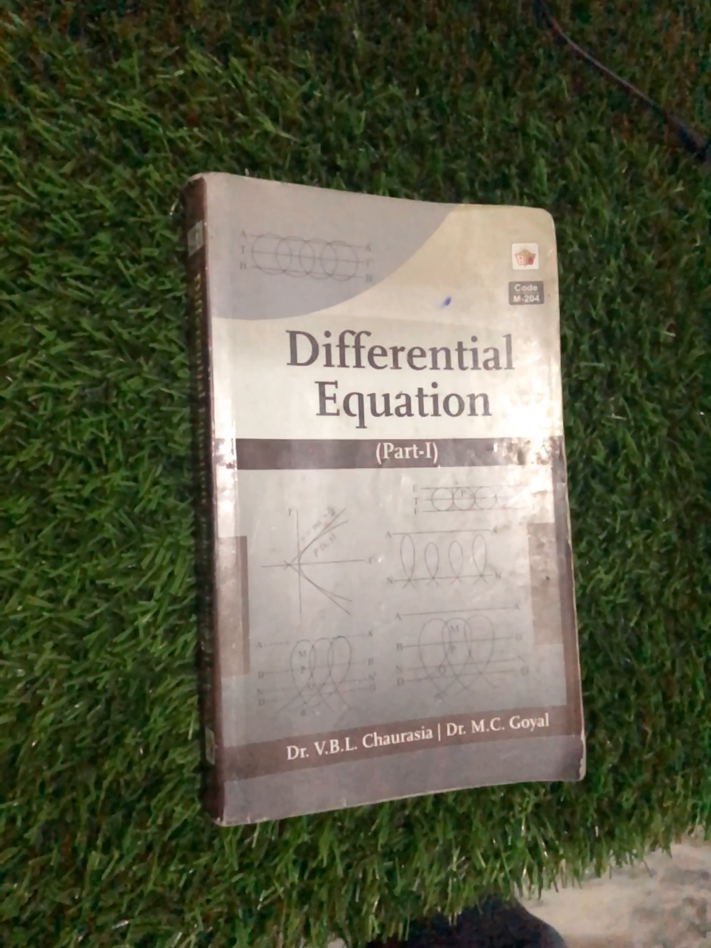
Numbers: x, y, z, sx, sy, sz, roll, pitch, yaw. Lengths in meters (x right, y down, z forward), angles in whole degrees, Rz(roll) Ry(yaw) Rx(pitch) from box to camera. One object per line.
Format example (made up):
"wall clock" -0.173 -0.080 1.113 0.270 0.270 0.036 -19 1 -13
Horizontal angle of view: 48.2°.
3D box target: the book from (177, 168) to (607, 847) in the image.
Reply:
"book" 0.014 0.007 0.275 0.140 0.030 0.200 -1 85 -23
